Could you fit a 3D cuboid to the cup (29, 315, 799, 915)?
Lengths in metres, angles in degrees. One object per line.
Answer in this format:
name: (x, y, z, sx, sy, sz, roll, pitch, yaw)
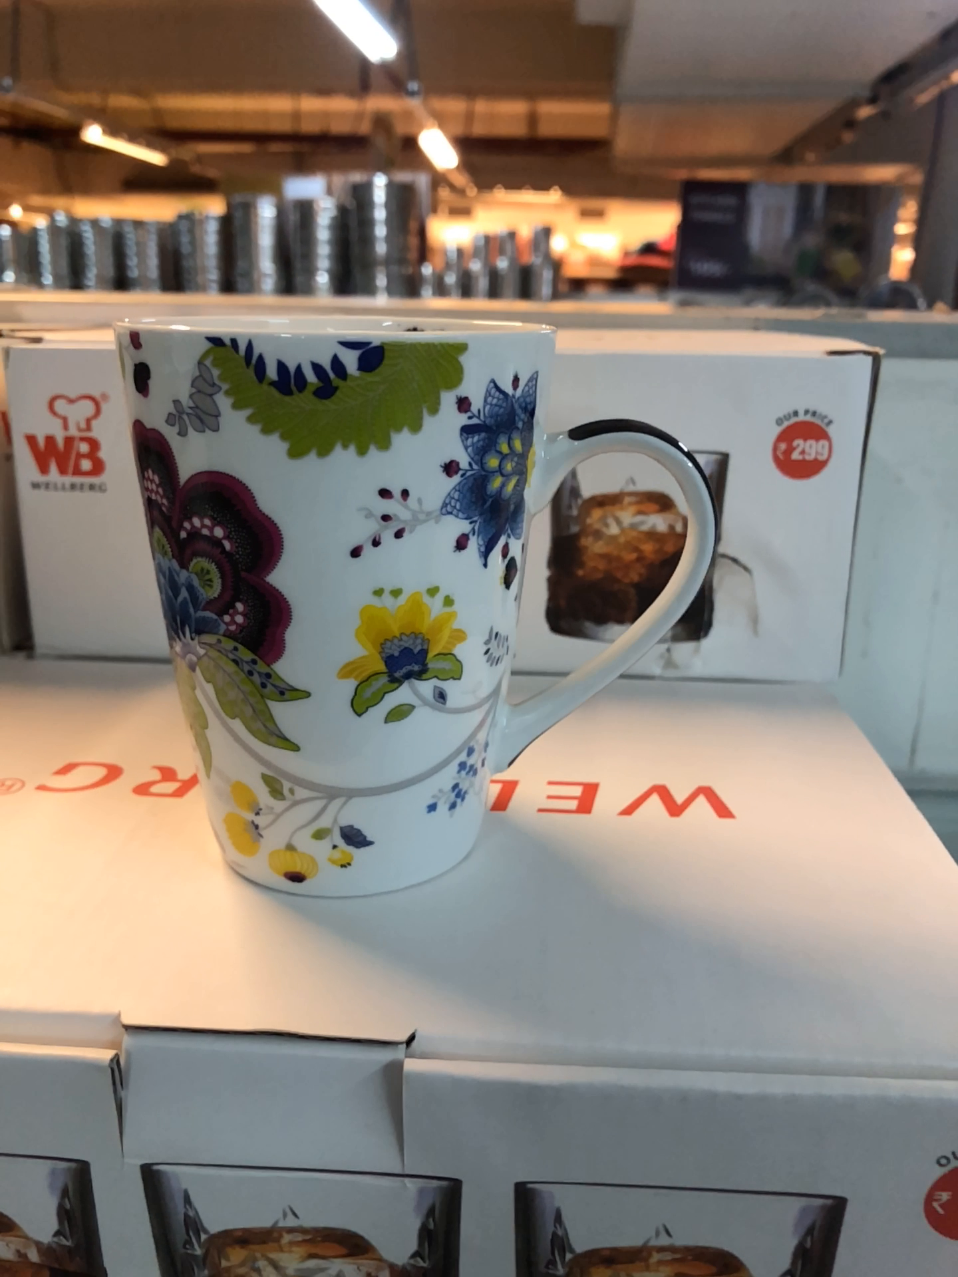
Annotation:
cup: (-0.014, -0.011, 0.220, 0.120, 0.100, 0.080, 0, 17, -7)
